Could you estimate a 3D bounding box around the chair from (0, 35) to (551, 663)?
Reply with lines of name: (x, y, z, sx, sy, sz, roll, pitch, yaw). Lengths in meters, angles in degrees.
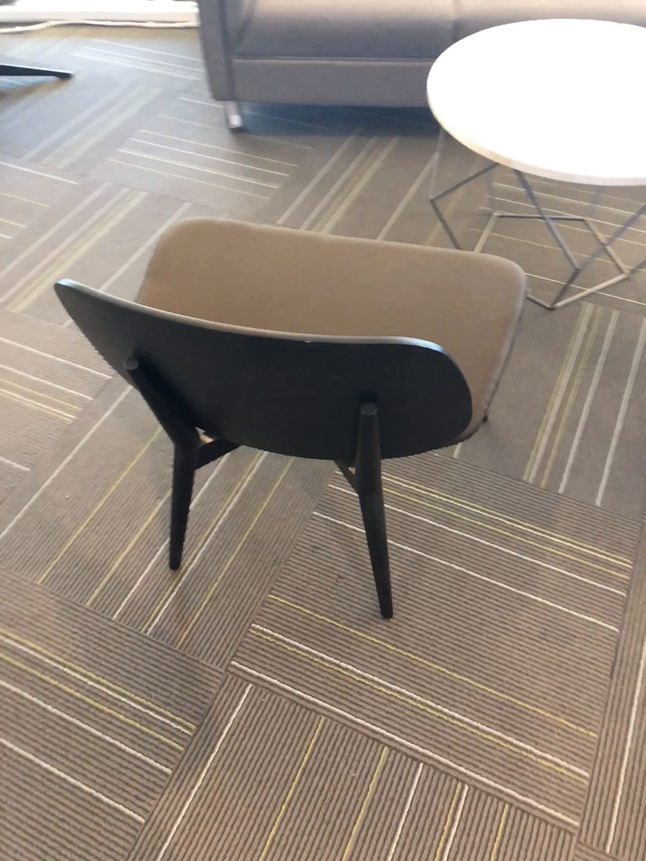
chair: (-0.022, -0.148, 1.285, 0.670, 0.737, 0.742, 9, 51, 10)
